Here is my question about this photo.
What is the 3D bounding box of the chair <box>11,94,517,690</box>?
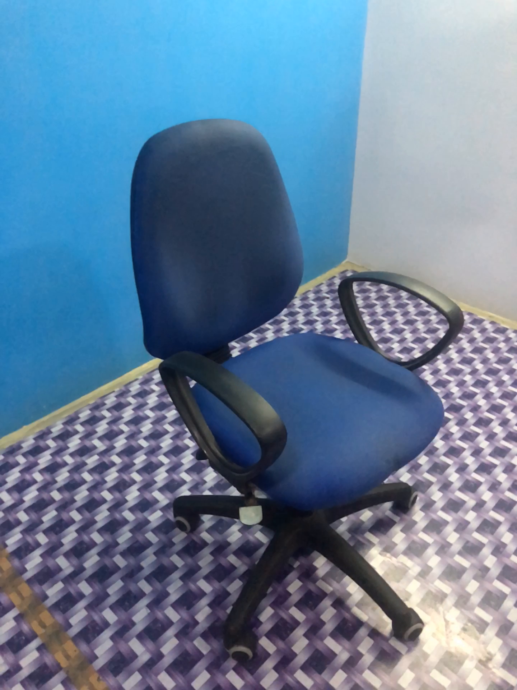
[{"bbox_3d":[0.119,0.070,1.086,0.671,0.875,0.703,27,40,36],"label":"chair"}]
